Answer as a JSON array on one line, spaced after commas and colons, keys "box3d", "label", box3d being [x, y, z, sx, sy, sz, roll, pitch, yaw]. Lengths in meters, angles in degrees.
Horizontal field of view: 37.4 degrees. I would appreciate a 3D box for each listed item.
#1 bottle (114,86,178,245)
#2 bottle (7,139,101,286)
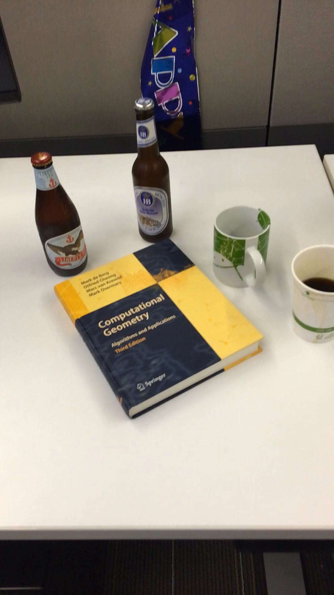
[{"box3d": [-0.025, -0.189, 0.739, 0.060, 0.220, 0.070, 8, 47, 12], "label": "bottle"}, {"box3d": [-0.154, -0.115, 0.696, 0.070, 0.180, 0.070, -2, 46, 2], "label": "bottle"}]
